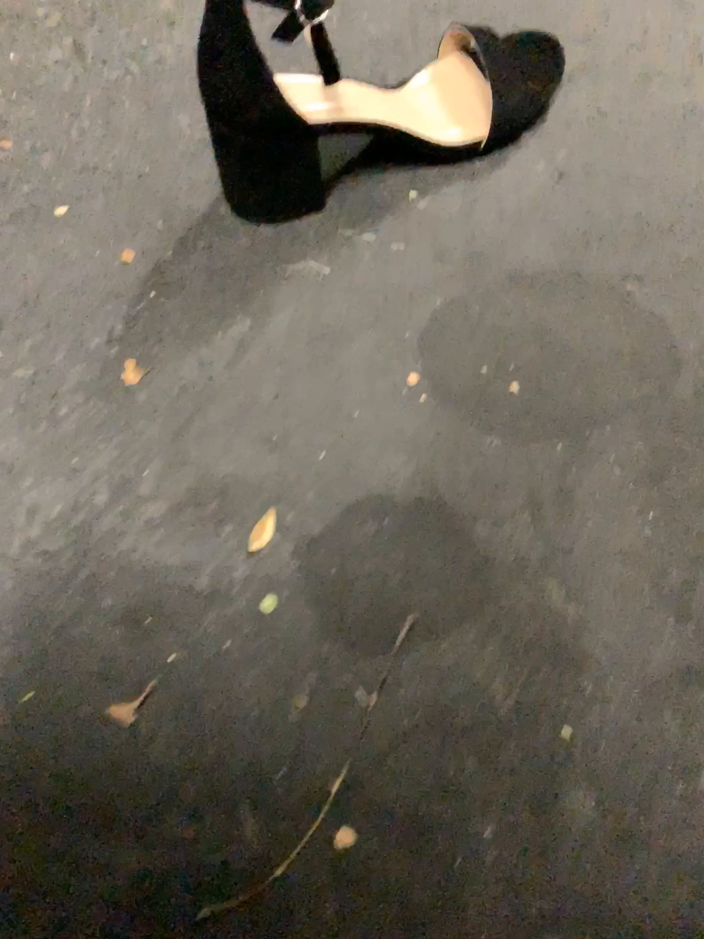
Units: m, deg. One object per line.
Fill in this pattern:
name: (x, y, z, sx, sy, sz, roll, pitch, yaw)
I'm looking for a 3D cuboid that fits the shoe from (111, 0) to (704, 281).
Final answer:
shoe: (0.033, -0.251, 0.443, 0.270, 0.140, 0.120, -28, 62, -9)
